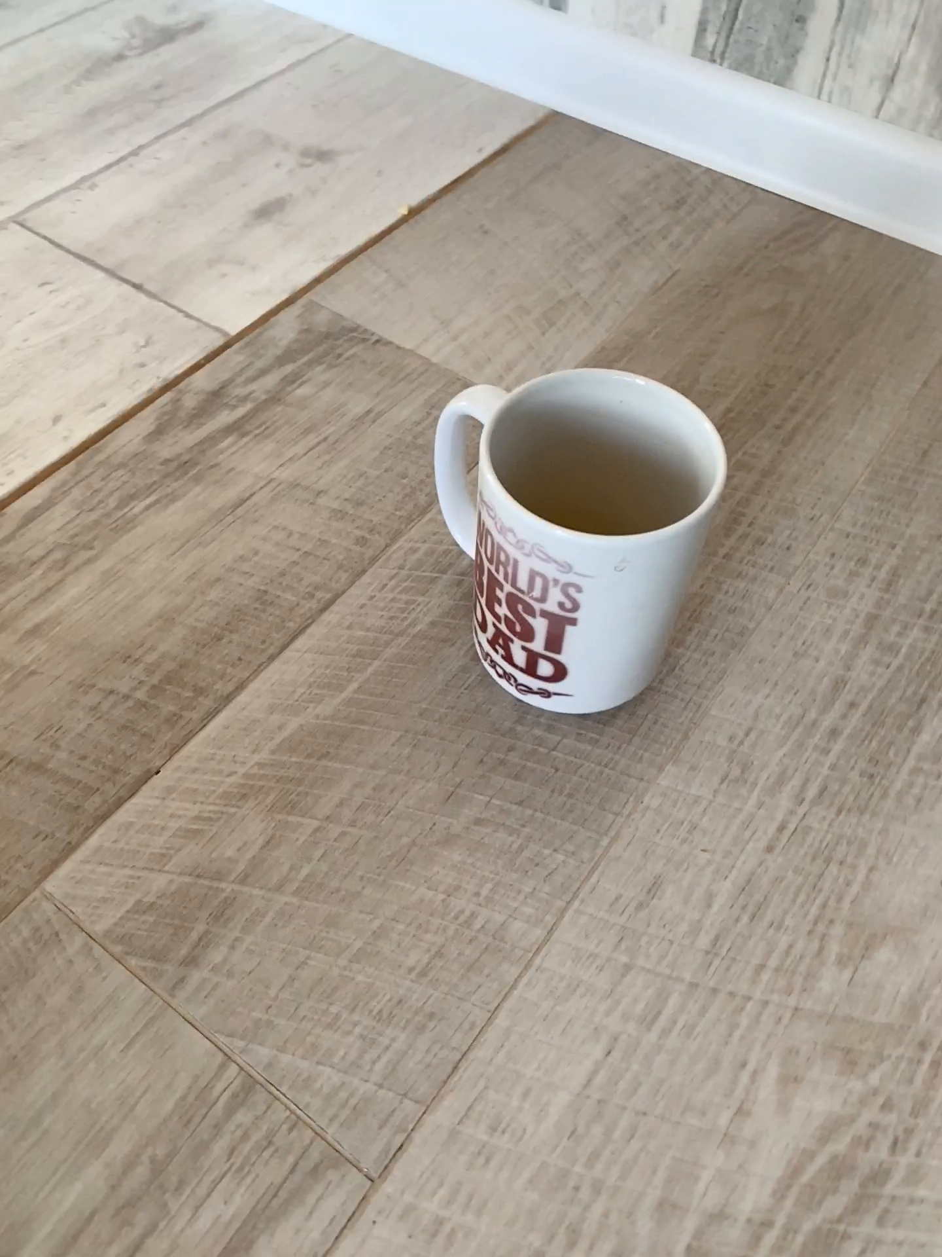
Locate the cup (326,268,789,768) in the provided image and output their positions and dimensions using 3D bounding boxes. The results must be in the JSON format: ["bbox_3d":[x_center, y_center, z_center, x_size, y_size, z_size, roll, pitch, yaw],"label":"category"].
[{"bbox_3d":[0.024,-0.041,0.359,0.130,0.110,0.080,38,61,23],"label":"cup"}]
